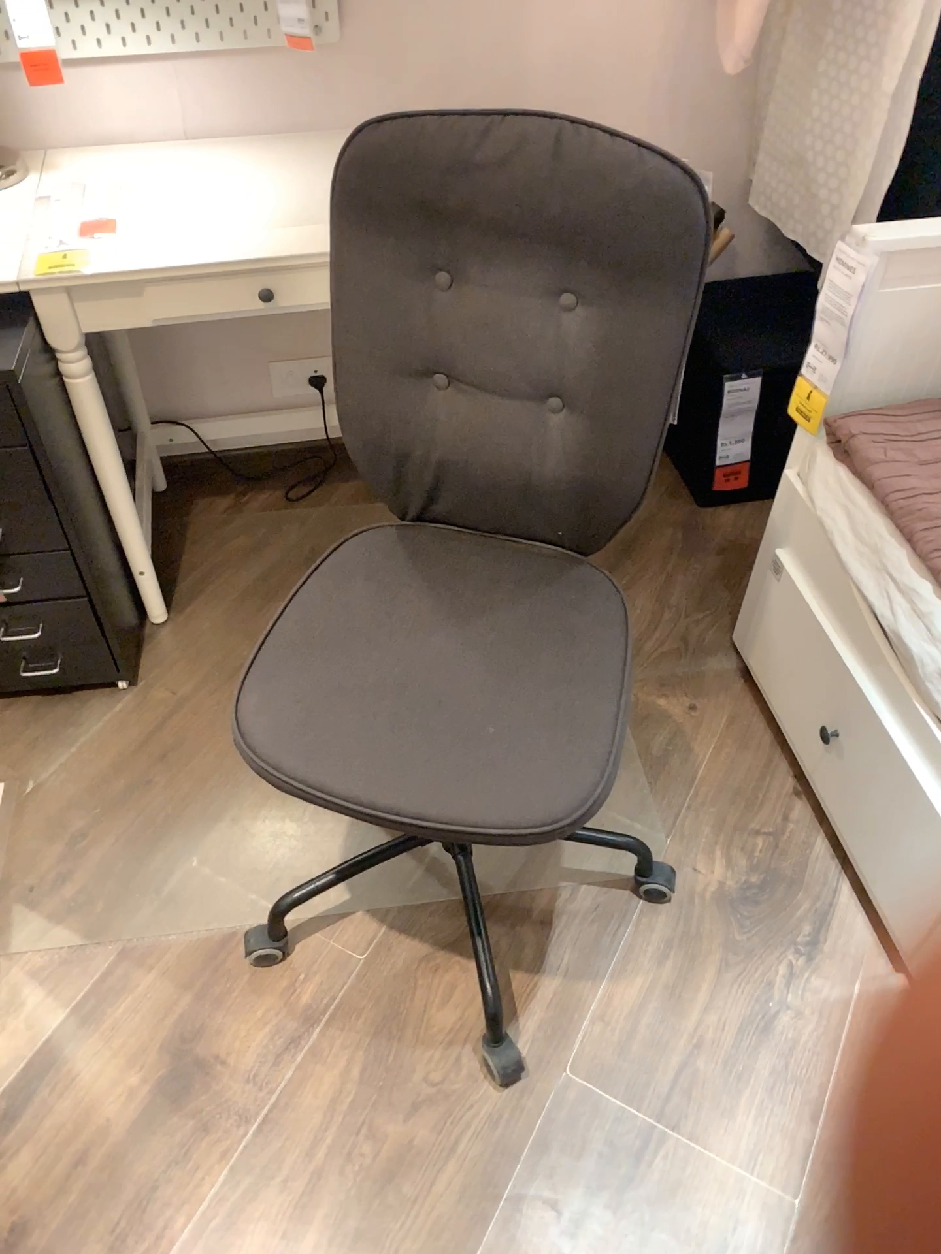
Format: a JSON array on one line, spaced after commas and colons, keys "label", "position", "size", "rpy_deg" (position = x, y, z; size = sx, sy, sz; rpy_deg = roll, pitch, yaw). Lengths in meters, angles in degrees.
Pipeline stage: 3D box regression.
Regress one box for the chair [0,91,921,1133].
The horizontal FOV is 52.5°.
[{"label": "chair", "position": [0.001, 0.011, 1.163], "size": [0.650, 0.946, 0.733], "rpy_deg": [9, 47, 8]}]
